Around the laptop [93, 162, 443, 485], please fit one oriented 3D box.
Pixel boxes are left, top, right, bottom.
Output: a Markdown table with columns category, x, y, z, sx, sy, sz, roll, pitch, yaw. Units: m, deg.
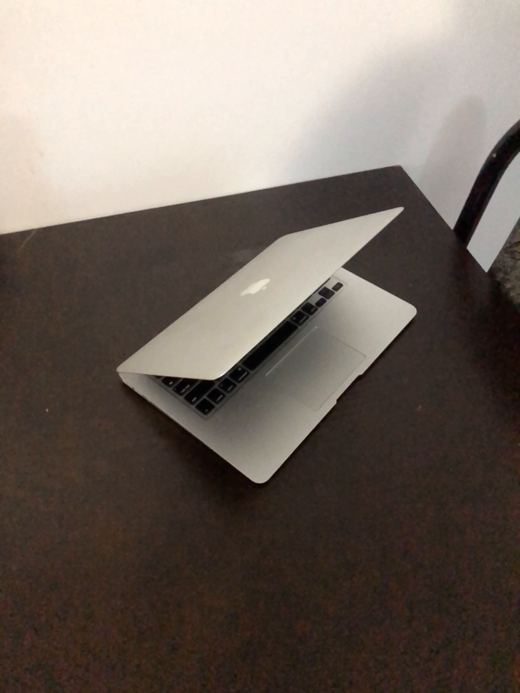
| category | x | y | z | sx | sy | sz | roll | pitch | yaw |
| --- | --- | --- | --- | --- | --- | --- | --- | --- | --- |
| laptop | 0.020 | -0.051 | 0.673 | 0.226 | 0.131 | 0.331 | 32 | 56 | 25 |
